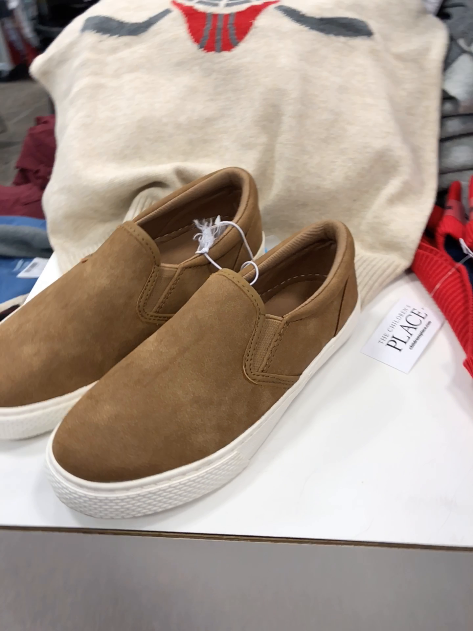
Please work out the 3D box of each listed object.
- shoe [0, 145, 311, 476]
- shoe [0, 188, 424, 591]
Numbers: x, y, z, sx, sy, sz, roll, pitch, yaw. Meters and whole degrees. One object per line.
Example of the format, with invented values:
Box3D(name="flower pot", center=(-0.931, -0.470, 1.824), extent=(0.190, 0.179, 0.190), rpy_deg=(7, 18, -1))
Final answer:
Box3D(name="shoe", center=(-0.068, -0.021, 0.331), extent=(0.230, 0.080, 0.093), rpy_deg=(-32, 49, -30))
Box3D(name="shoe", center=(0.002, 0.019, 0.303), extent=(0.092, 0.080, 0.230), rpy_deg=(30, 50, 31))
